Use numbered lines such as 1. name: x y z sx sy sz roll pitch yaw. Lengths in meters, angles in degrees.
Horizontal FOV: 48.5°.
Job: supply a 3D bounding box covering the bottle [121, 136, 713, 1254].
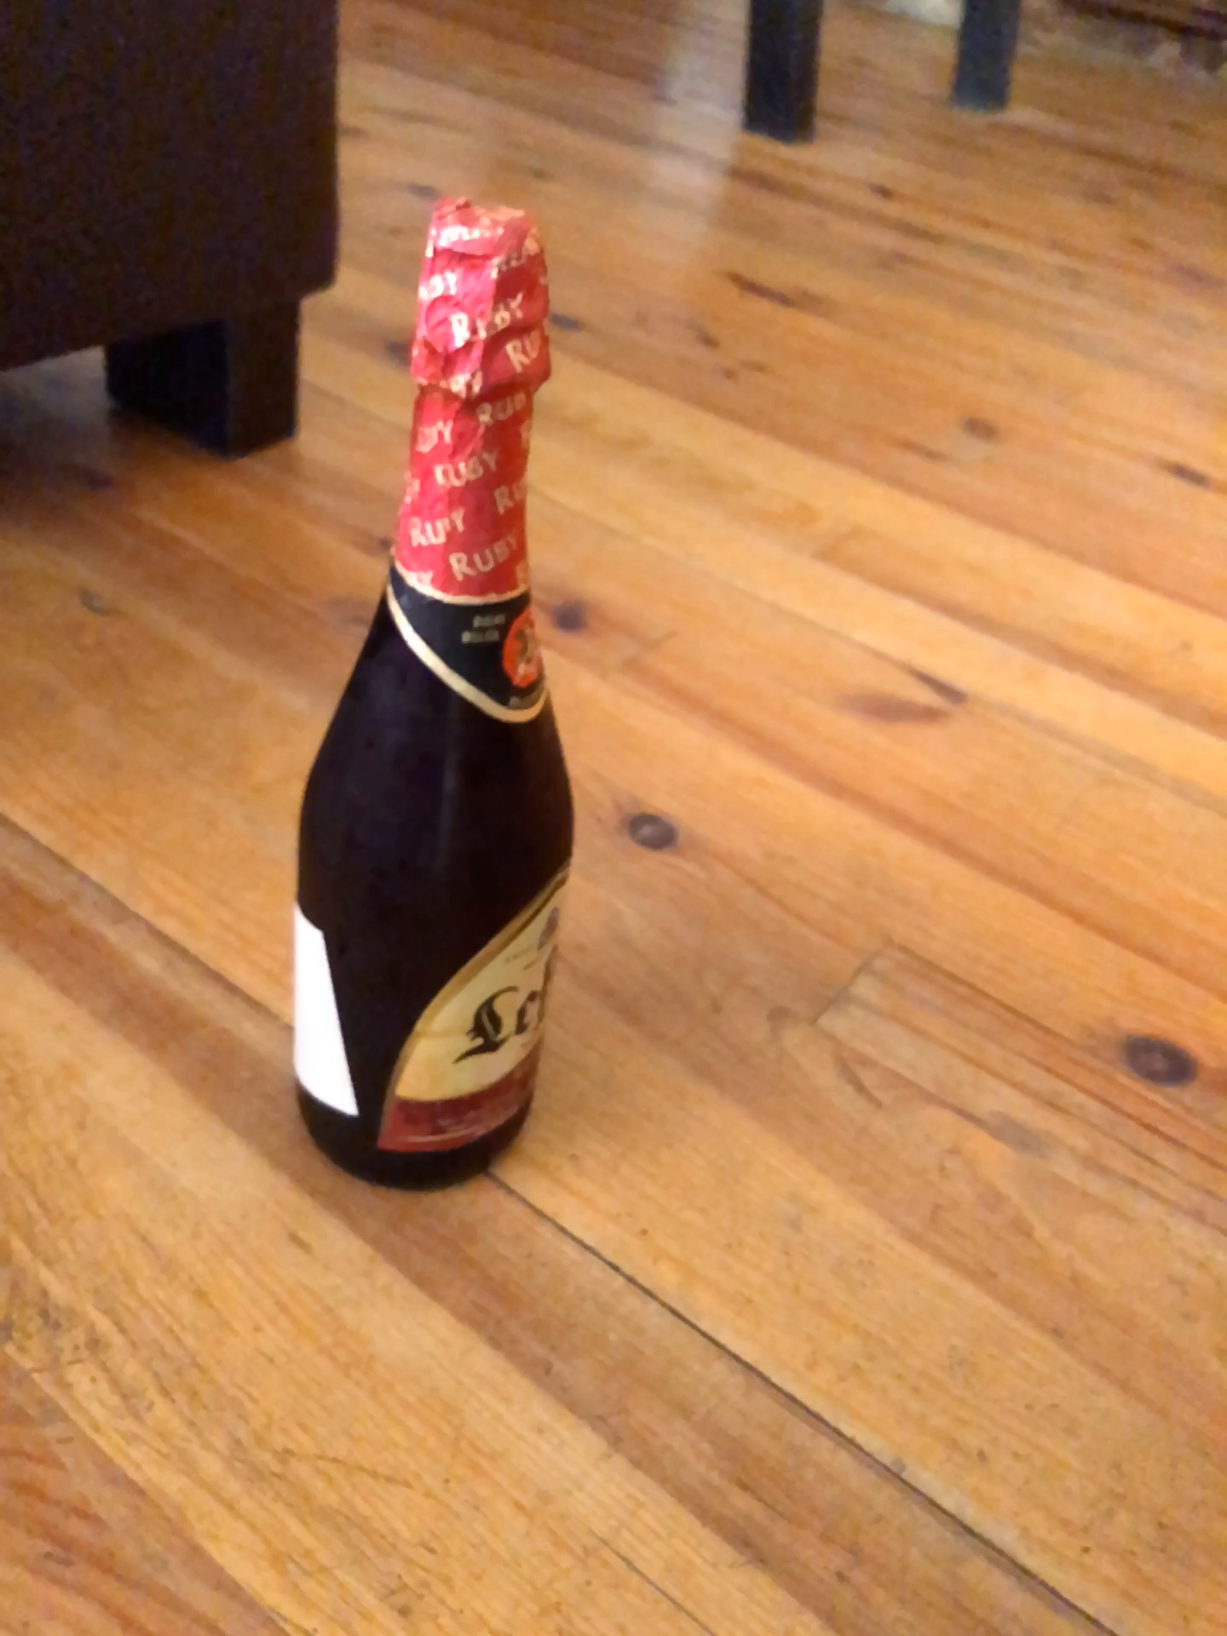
1. bottle: -0.058 -0.018 0.381 0.090 0.288 0.091 6 38 -5
